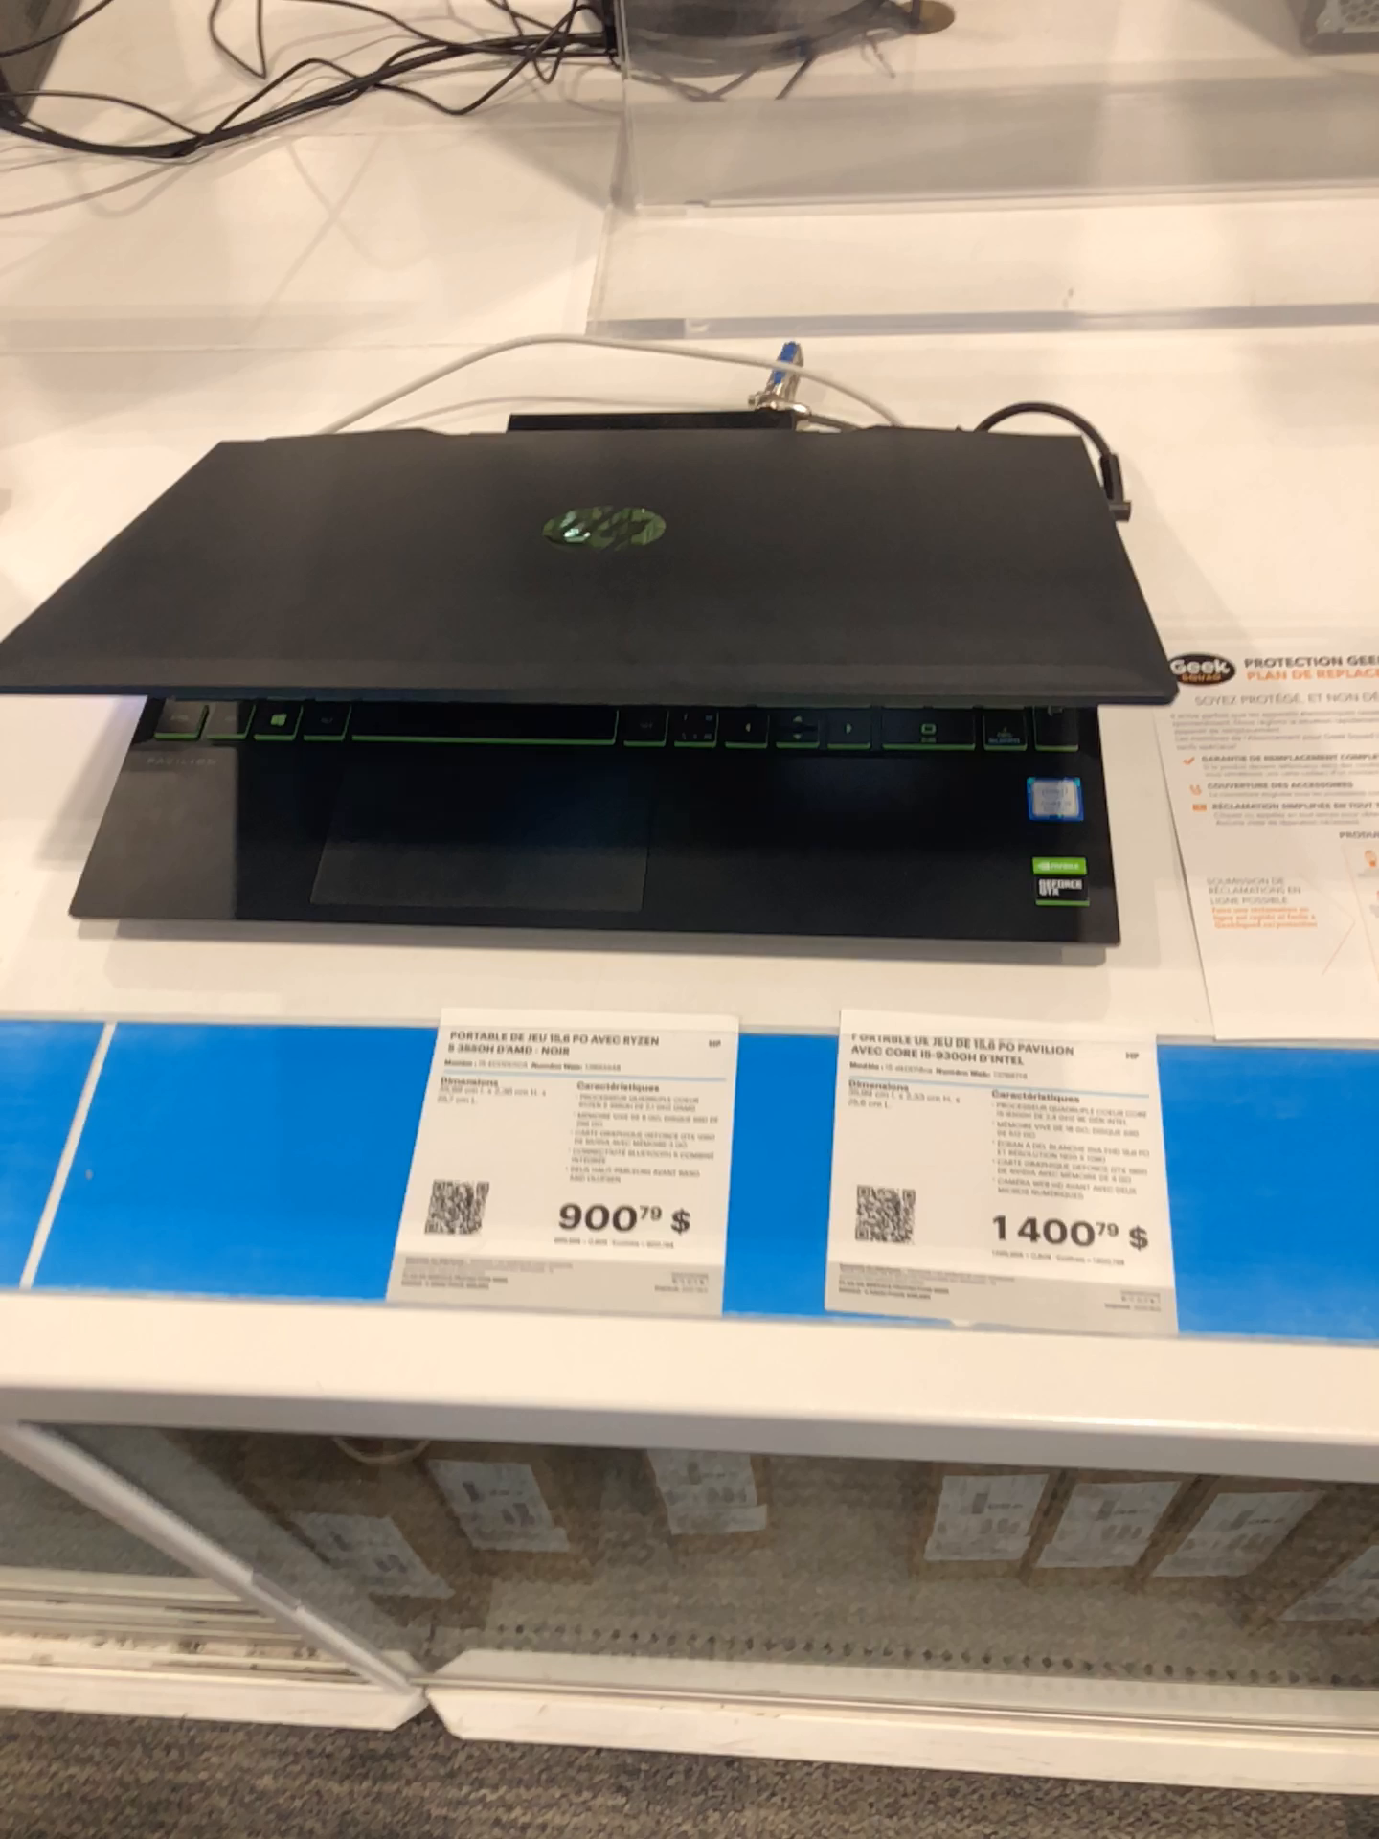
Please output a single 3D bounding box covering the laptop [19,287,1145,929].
[{"bbox_3d":[-0.028,-0.114,0.532,0.339,0.064,0.221,1,61,5],"label":"laptop"}]
